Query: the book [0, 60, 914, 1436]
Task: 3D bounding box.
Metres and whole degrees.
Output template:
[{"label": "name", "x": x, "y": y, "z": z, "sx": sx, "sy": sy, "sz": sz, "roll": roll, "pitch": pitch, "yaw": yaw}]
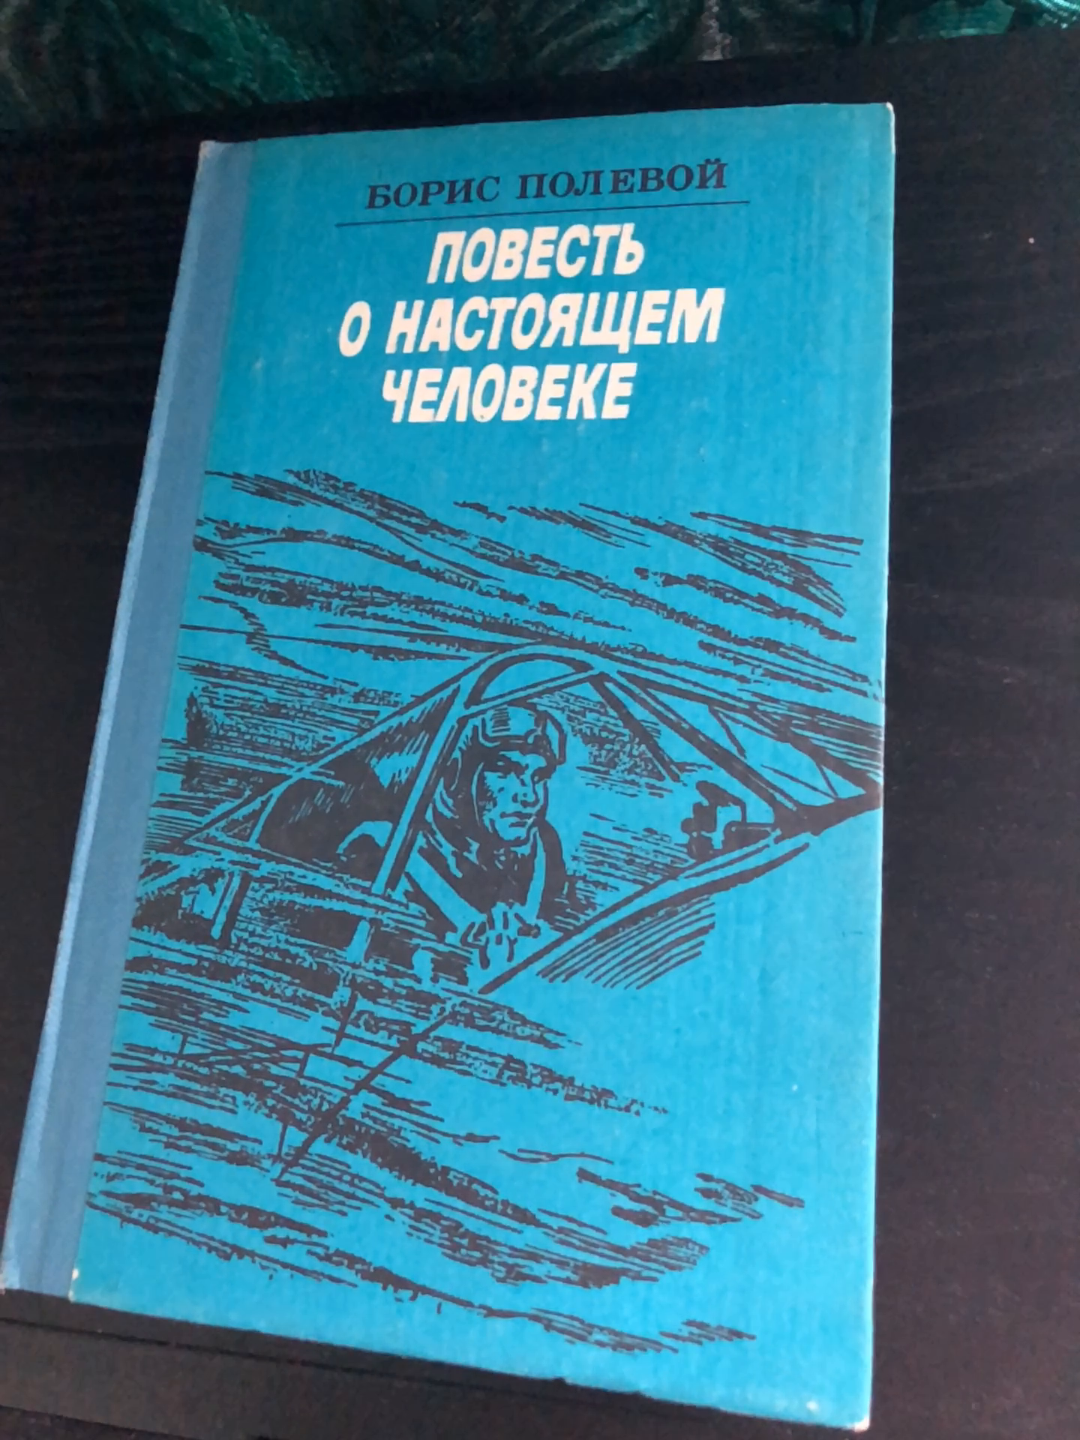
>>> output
[{"label": "book", "x": -0.009, "y": -0.009, "z": 0.185, "sx": 0.123, "sy": 0.020, "sz": 0.190, "roll": 2, "pitch": 76, "yaw": 12}]
